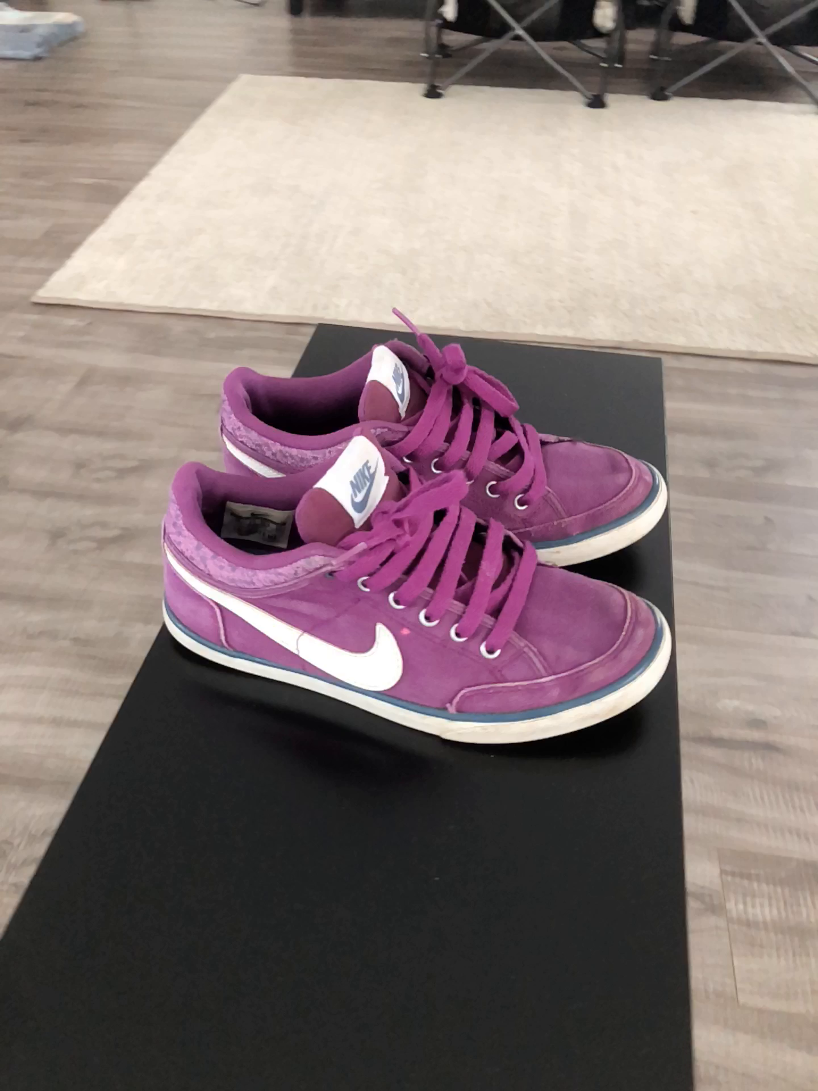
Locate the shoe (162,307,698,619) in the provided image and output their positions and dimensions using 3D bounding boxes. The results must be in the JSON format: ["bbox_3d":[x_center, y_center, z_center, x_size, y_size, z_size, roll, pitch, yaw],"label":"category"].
[{"bbox_3d":[0.014,-0.048,0.484,0.250,0.100,0.100,7,43,8],"label":"shoe"}]

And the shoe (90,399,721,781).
[{"bbox_3d":[0.002,0.016,0.407,0.240,0.100,0.100,7,43,8],"label":"shoe"}]
